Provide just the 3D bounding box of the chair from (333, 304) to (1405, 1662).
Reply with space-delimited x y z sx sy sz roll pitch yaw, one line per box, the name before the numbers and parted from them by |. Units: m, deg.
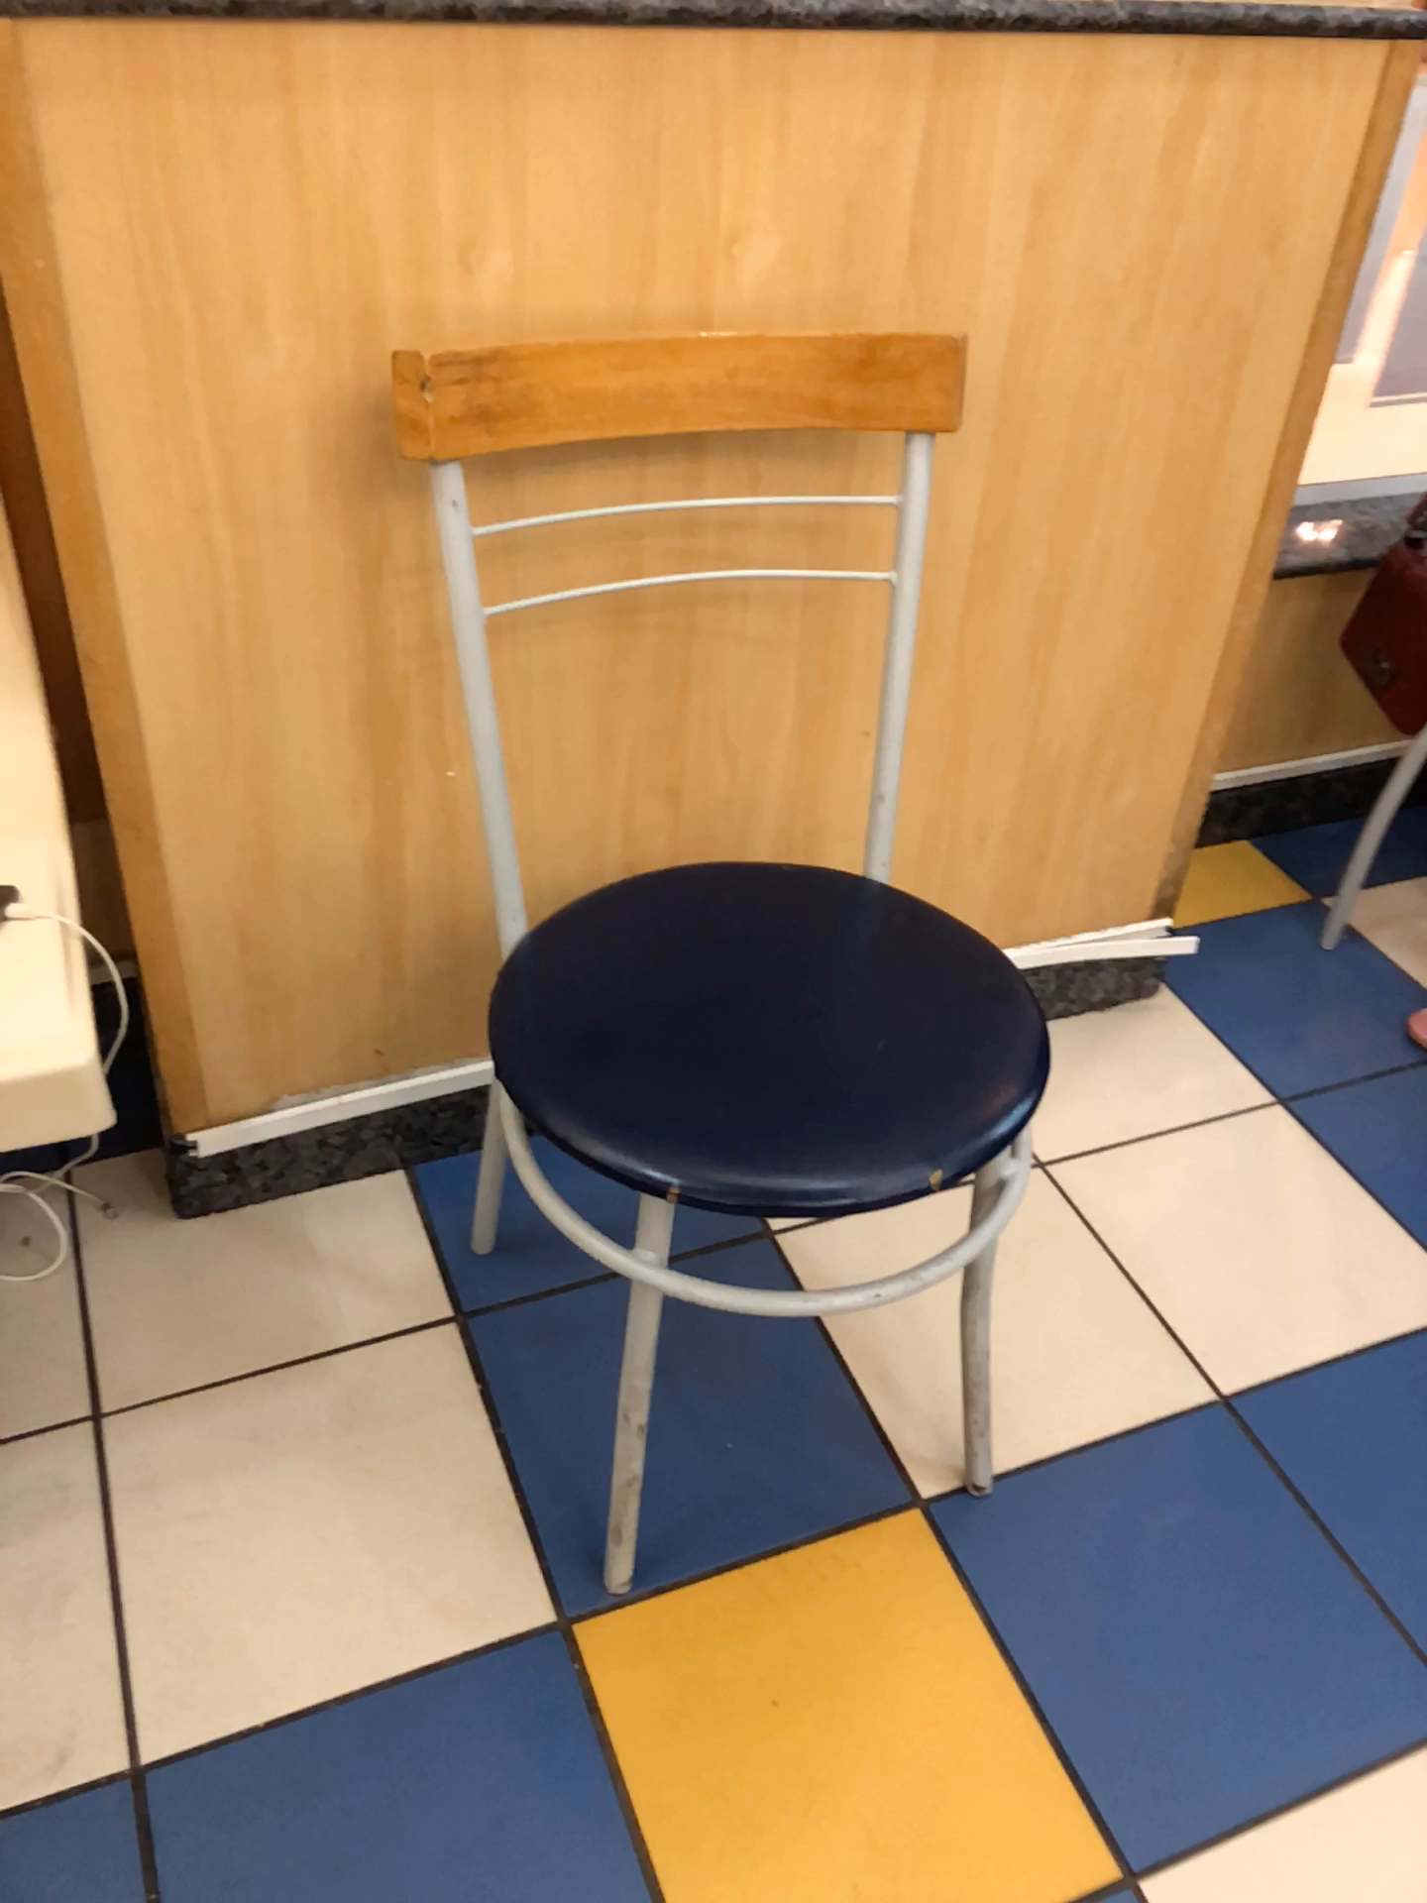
chair | 0.027 0.005 1.125 0.441 0.744 0.523 -10 39 -18
